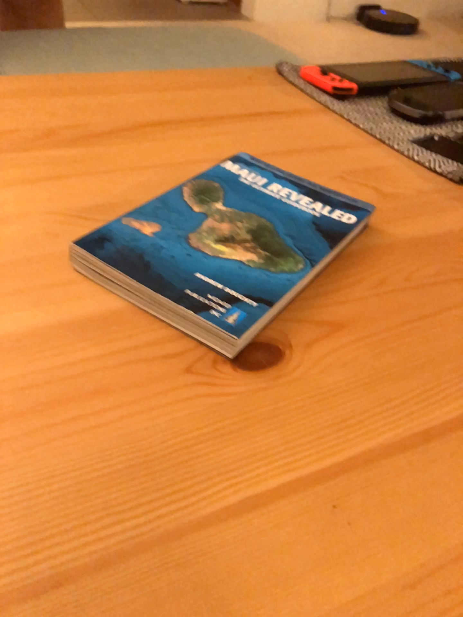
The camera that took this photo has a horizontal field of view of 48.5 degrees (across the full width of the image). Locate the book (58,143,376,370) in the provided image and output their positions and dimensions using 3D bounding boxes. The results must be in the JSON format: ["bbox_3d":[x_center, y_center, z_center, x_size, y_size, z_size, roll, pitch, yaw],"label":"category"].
[{"bbox_3d":[0.000,-0.057,0.385,0.146,0.020,0.201,29,47,20],"label":"book"}]
